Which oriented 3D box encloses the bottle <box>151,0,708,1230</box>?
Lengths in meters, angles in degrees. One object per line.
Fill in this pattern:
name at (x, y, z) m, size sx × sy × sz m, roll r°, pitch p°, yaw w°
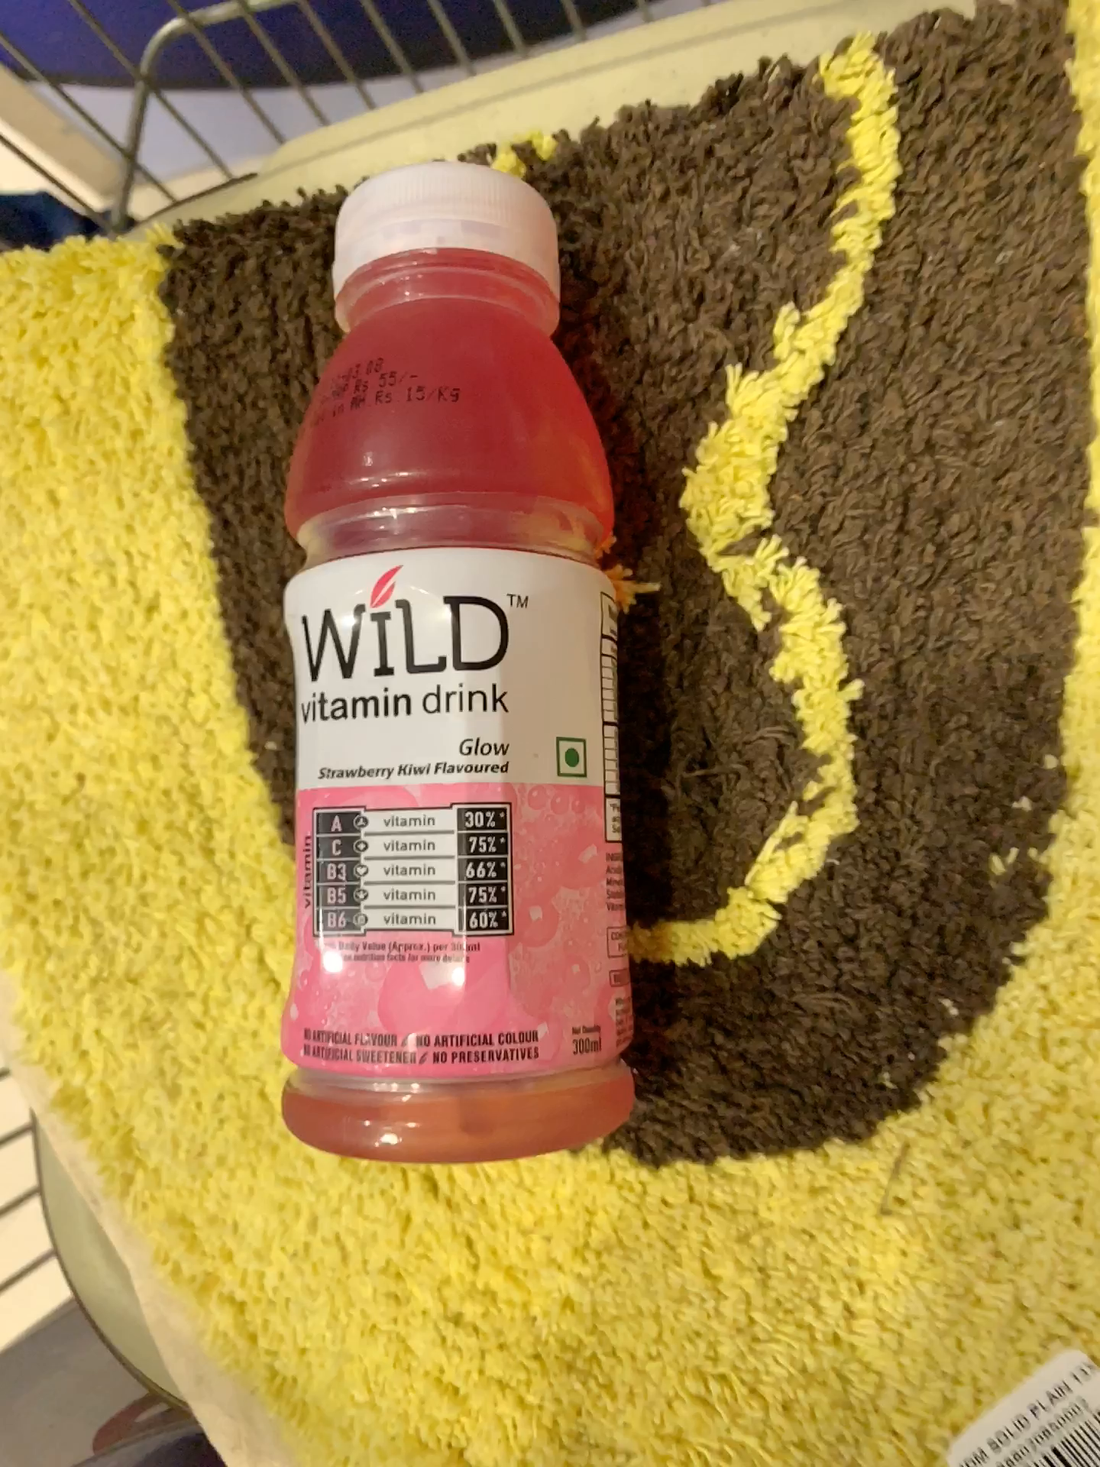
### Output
bottle at (-0.016, -0.016, 0.180) m, size 0.060 × 0.050 × 0.160 m, roll -4°, pitch 91°, yaw 21°
